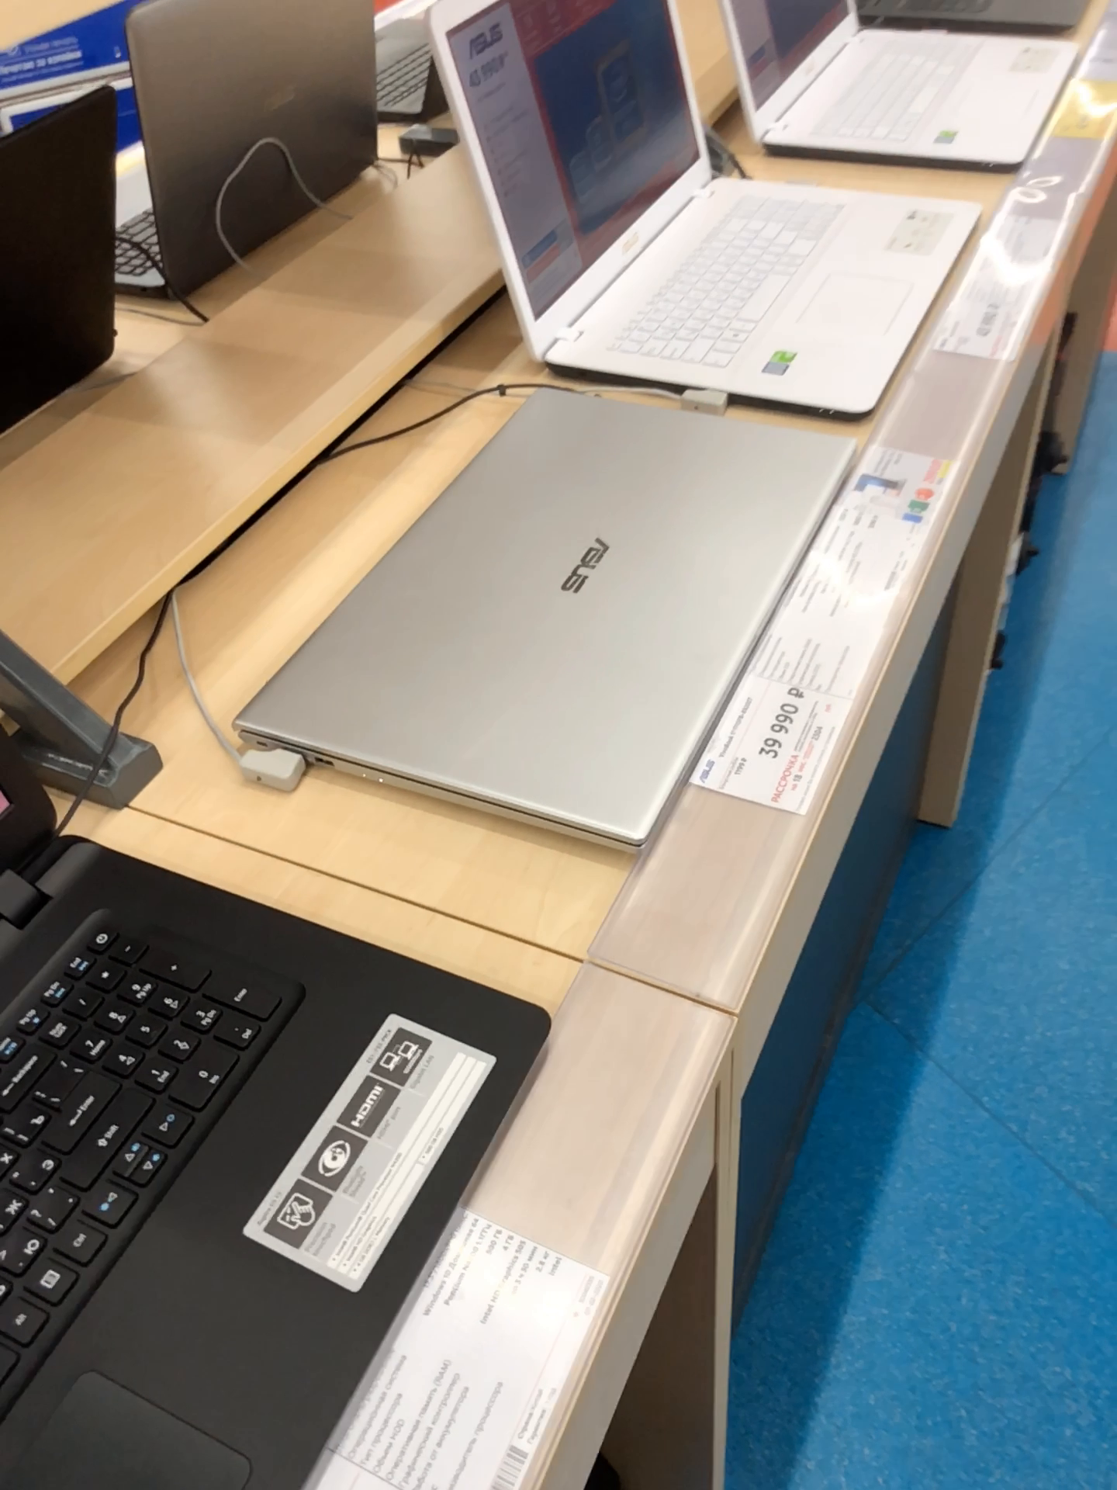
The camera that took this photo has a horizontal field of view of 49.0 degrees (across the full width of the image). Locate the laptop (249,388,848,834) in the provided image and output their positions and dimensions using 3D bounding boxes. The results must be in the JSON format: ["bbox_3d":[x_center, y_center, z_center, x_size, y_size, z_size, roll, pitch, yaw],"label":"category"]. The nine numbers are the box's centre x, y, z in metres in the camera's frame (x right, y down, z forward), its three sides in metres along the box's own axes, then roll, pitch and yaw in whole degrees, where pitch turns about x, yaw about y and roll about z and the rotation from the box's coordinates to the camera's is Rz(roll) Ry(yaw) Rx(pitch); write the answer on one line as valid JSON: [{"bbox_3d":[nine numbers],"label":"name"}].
[{"bbox_3d":[0.015,-0.115,0.781,0.232,0.006,0.393,16,48,20],"label":"laptop"}]
